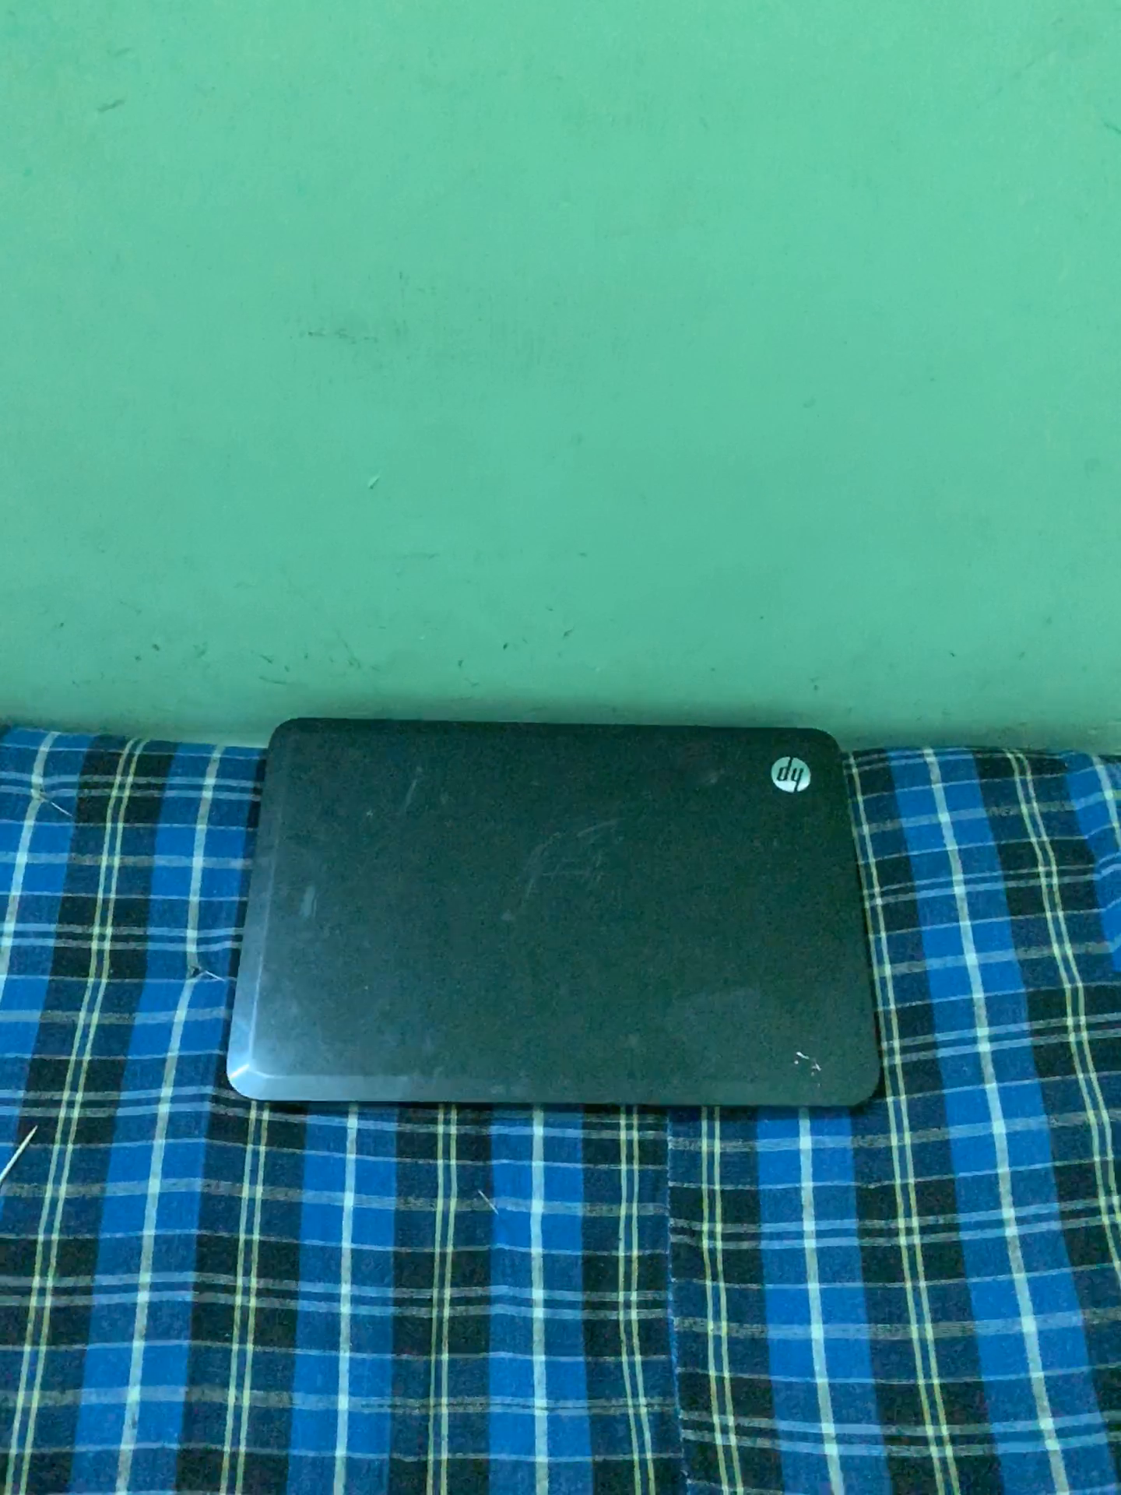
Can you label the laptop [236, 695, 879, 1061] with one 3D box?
[{"bbox_3d":[-0.001,0.070,0.670,0.346,0.018,0.217,0,64,-2],"label":"laptop"}]
